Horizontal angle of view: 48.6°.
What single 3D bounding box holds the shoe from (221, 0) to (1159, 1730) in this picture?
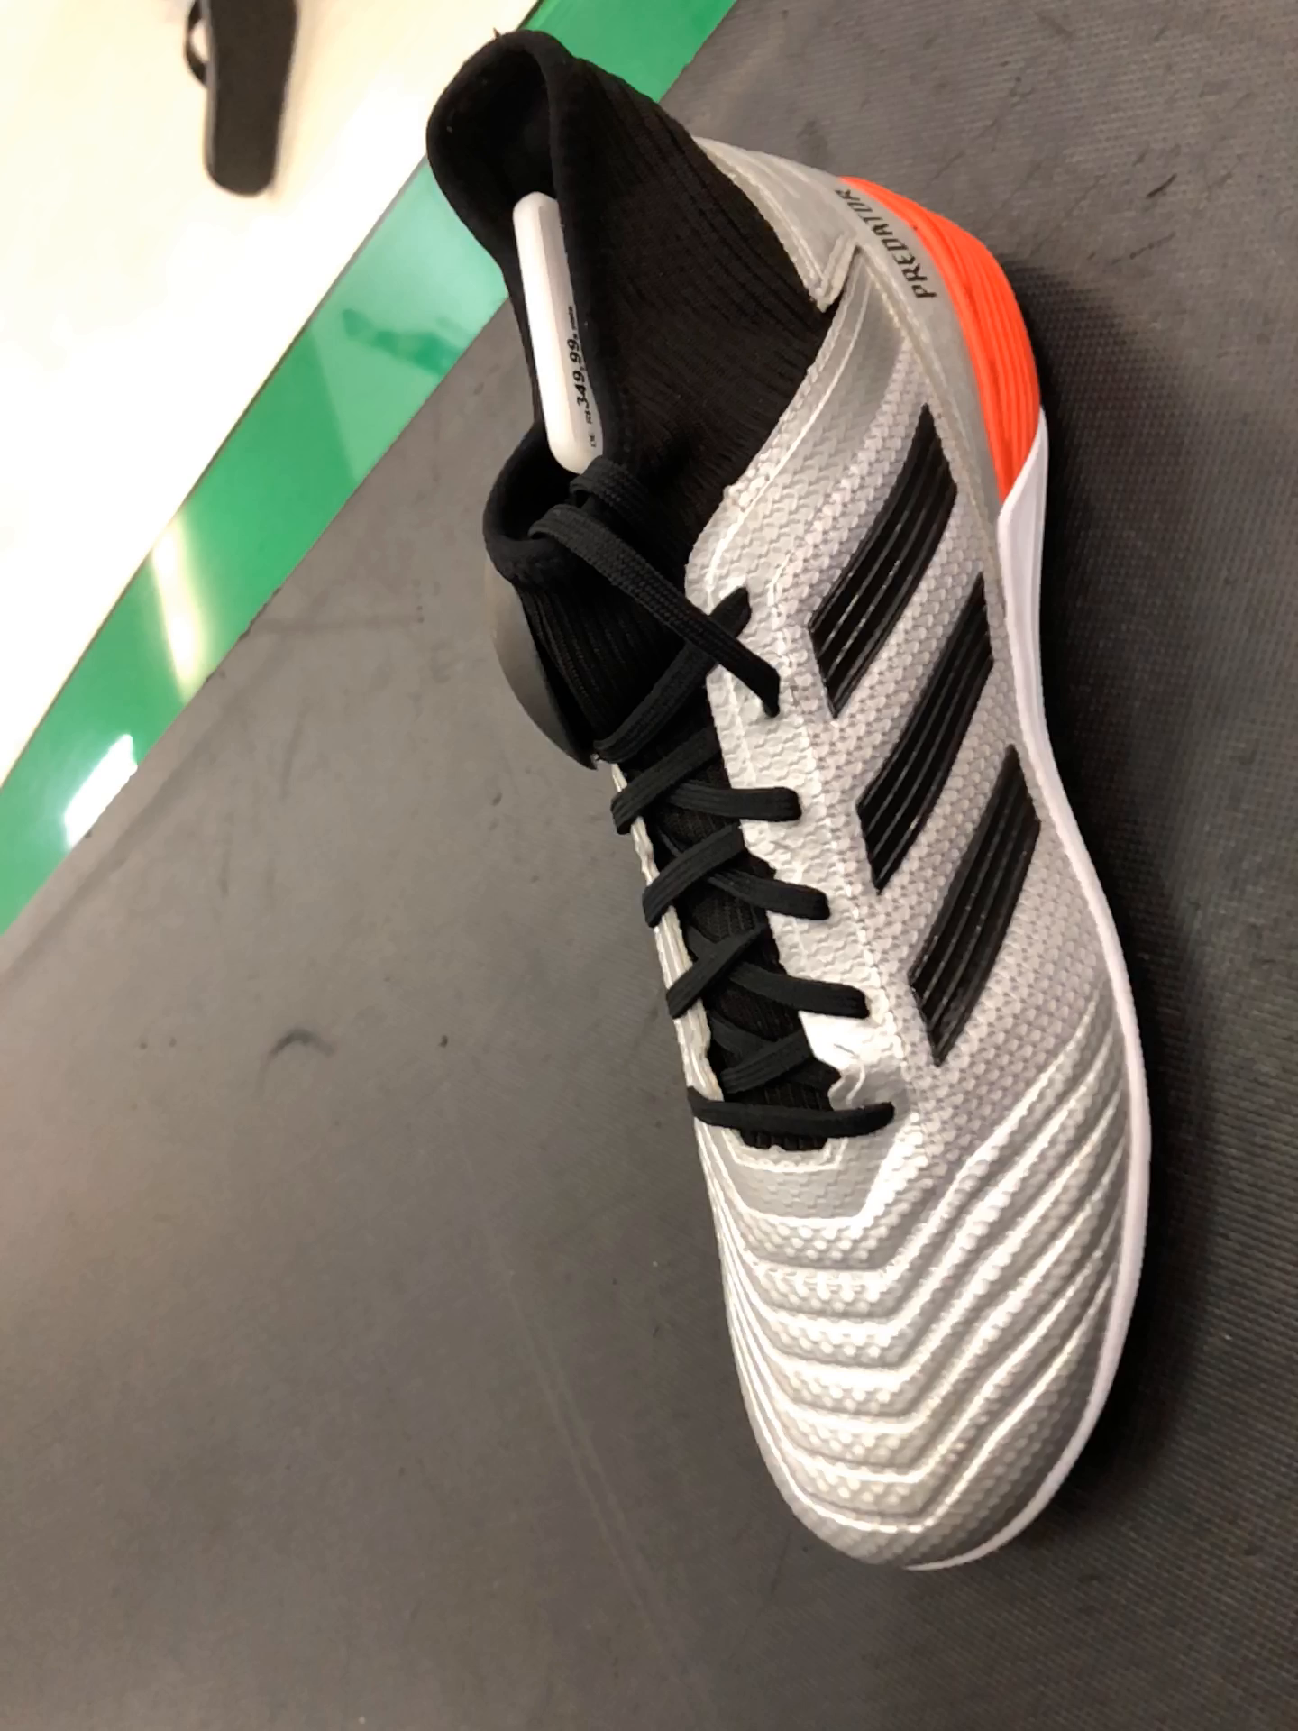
[{"bbox_3d":[0.009,0.006,0.269,0.090,0.139,0.250,-9,81,44],"label":"shoe"}]
